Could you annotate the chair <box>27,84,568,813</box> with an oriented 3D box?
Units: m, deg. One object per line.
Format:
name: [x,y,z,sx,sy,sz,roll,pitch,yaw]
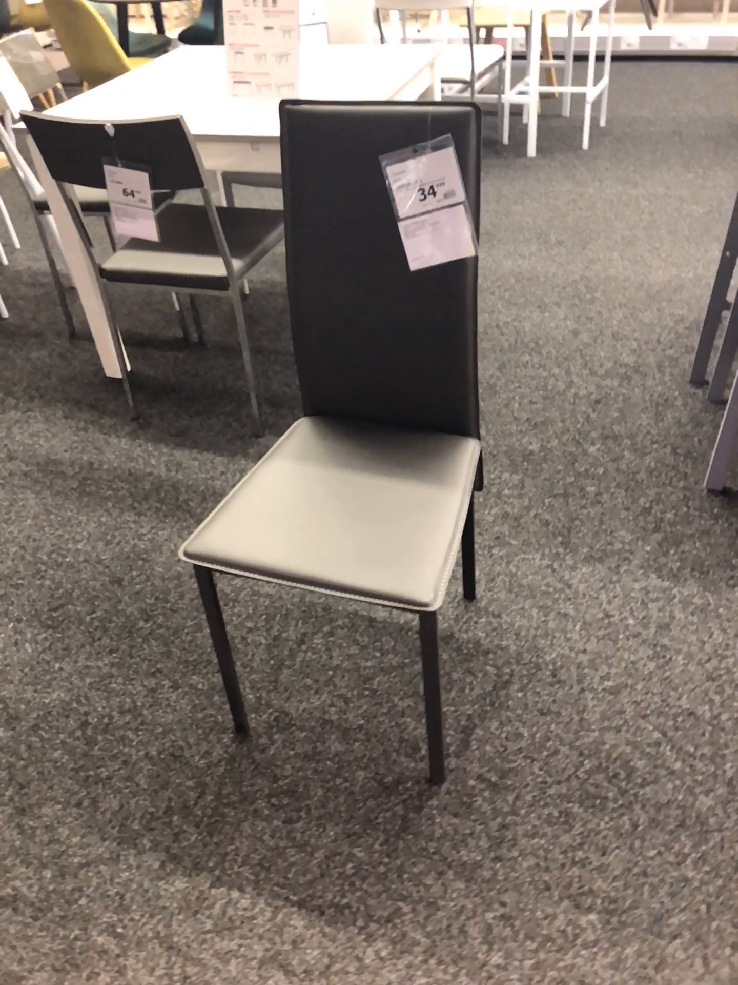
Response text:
chair: [-0.007,-0.061,1.272,0.470,0.934,0.564,10,41,18]
